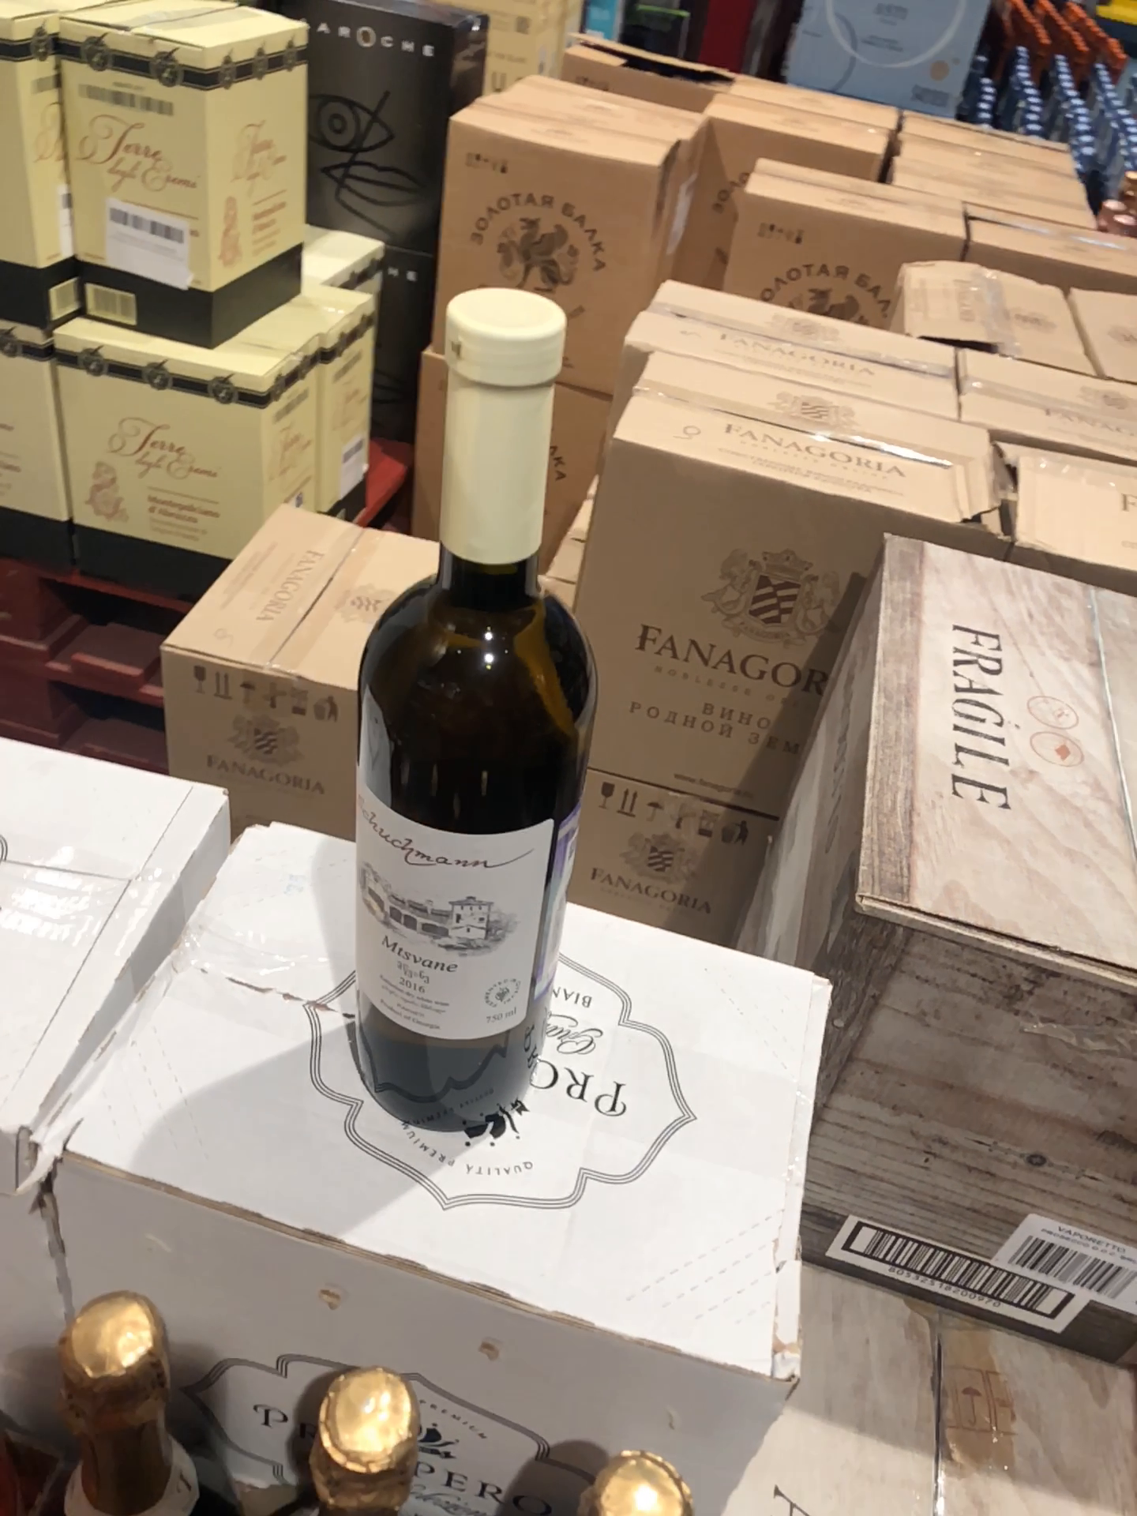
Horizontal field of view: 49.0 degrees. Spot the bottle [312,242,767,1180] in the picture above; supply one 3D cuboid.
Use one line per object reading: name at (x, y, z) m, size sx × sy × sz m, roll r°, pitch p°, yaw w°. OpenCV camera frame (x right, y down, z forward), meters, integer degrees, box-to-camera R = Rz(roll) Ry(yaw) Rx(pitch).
bottle at (-0.022, 0.005, 0.391) m, size 0.080 × 0.288 × 0.073 m, roll 7°, pitch 38°, yaw -5°
